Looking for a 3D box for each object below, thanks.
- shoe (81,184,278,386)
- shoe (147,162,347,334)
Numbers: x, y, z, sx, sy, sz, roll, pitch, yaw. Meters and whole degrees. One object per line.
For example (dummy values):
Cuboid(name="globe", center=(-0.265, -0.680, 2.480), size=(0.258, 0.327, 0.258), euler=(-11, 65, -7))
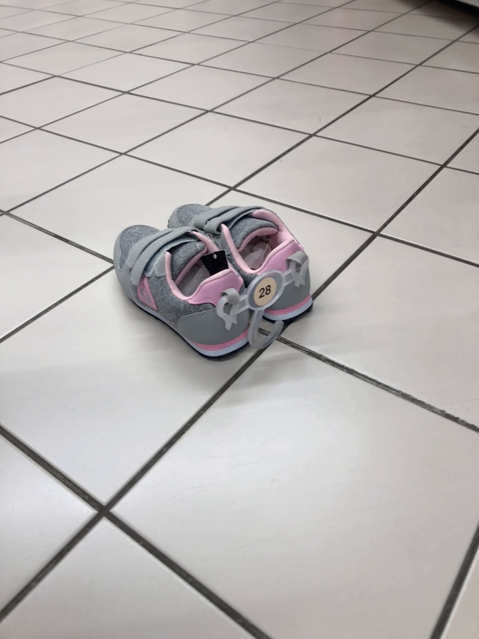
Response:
Cuboid(name="shoe", center=(-0.055, -0.040, 0.462), size=(0.080, 0.080, 0.180), euler=(-27, 46, -26))
Cuboid(name="shoe", center=(0.002, -0.075, 0.490), size=(0.080, 0.070, 0.180), euler=(-30, 47, -28))
